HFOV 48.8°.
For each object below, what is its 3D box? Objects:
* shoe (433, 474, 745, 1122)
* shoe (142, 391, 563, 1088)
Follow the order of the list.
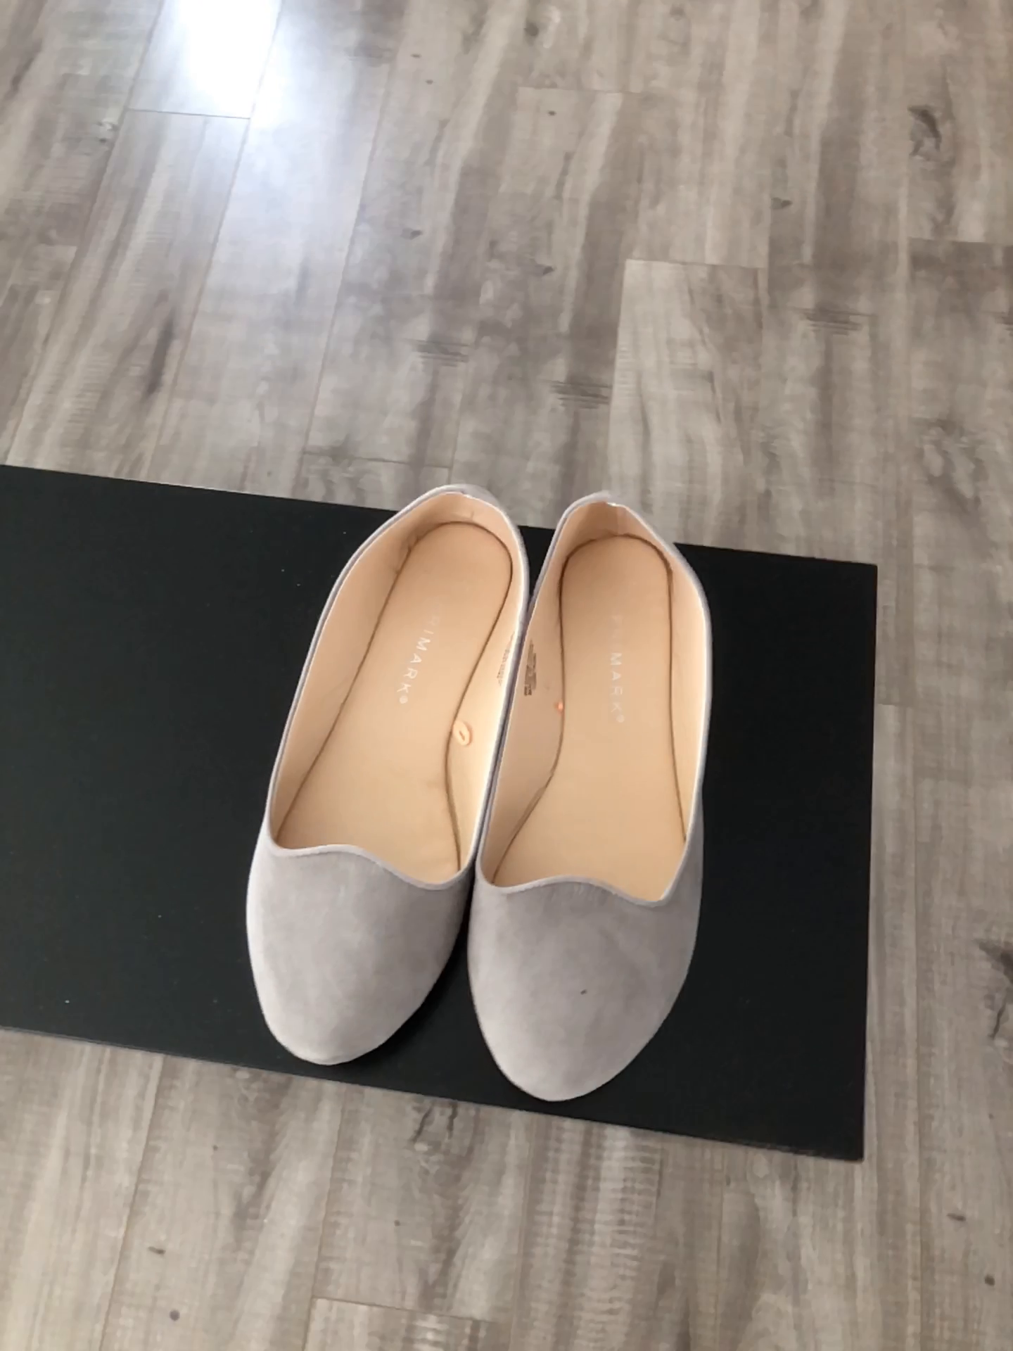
[{"bbox_3d":[0.039,0.044,0.461,0.100,0.060,0.250,6,67,4],"label":"shoe"},{"bbox_3d":[-0.047,0.022,0.451,0.100,0.090,0.253,9,67,5],"label":"shoe"}]
